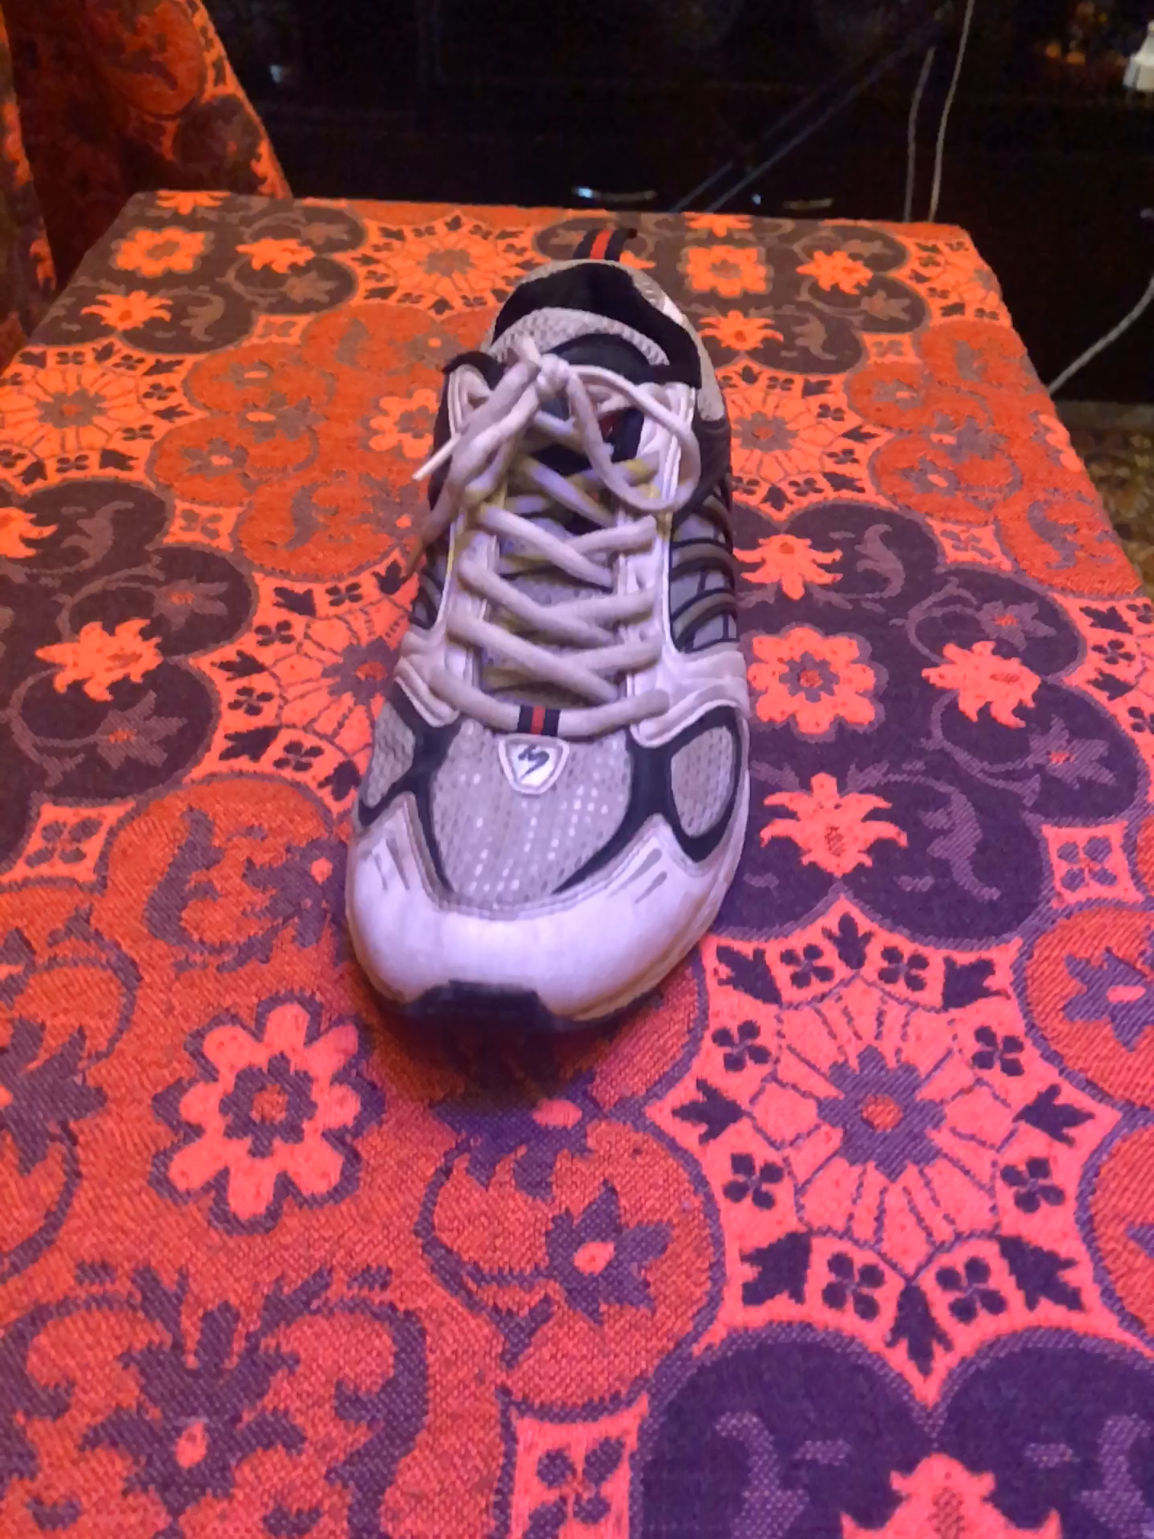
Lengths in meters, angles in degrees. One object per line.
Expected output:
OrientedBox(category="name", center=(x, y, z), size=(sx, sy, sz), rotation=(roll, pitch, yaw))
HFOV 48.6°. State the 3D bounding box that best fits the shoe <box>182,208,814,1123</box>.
OrientedBox(category="shoe", center=(-0.010, -0.058, 0.389), size=(0.120, 0.109, 0.302), rotation=(2, 43, 1))
